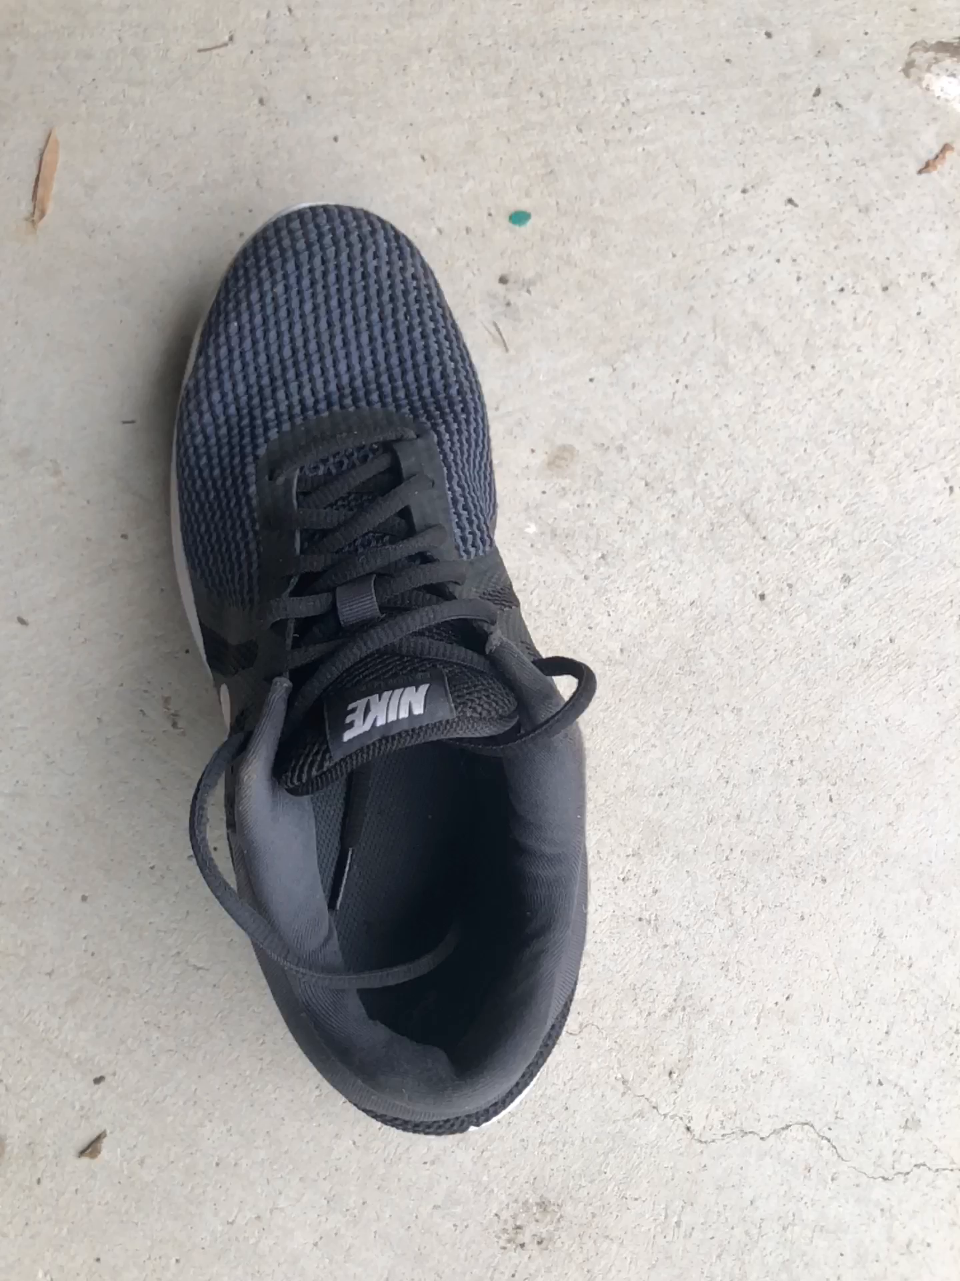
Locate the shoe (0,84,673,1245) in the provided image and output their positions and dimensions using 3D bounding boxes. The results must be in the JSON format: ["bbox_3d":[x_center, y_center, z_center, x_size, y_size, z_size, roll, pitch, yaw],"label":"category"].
[{"bbox_3d":[-0.047,0.001,0.332,0.130,0.100,0.290,-12,83,-4],"label":"shoe"}]
